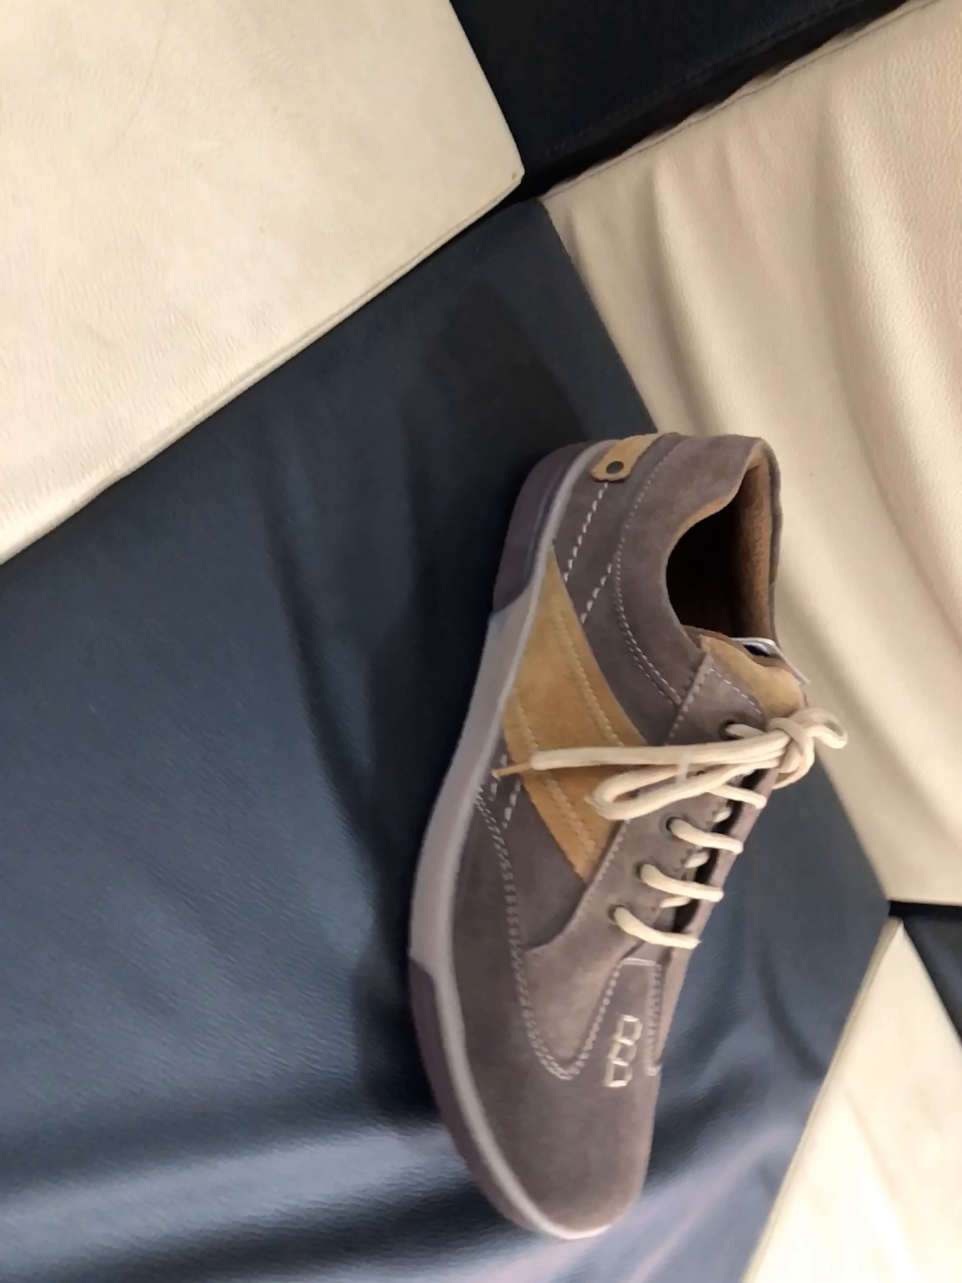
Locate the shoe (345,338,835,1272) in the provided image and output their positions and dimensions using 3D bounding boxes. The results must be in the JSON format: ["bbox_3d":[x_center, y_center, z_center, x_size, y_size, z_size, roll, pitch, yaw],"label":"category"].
[{"bbox_3d":[0.050,0.051,0.382,0.101,0.079,0.290,28,66,-39],"label":"shoe"}]
